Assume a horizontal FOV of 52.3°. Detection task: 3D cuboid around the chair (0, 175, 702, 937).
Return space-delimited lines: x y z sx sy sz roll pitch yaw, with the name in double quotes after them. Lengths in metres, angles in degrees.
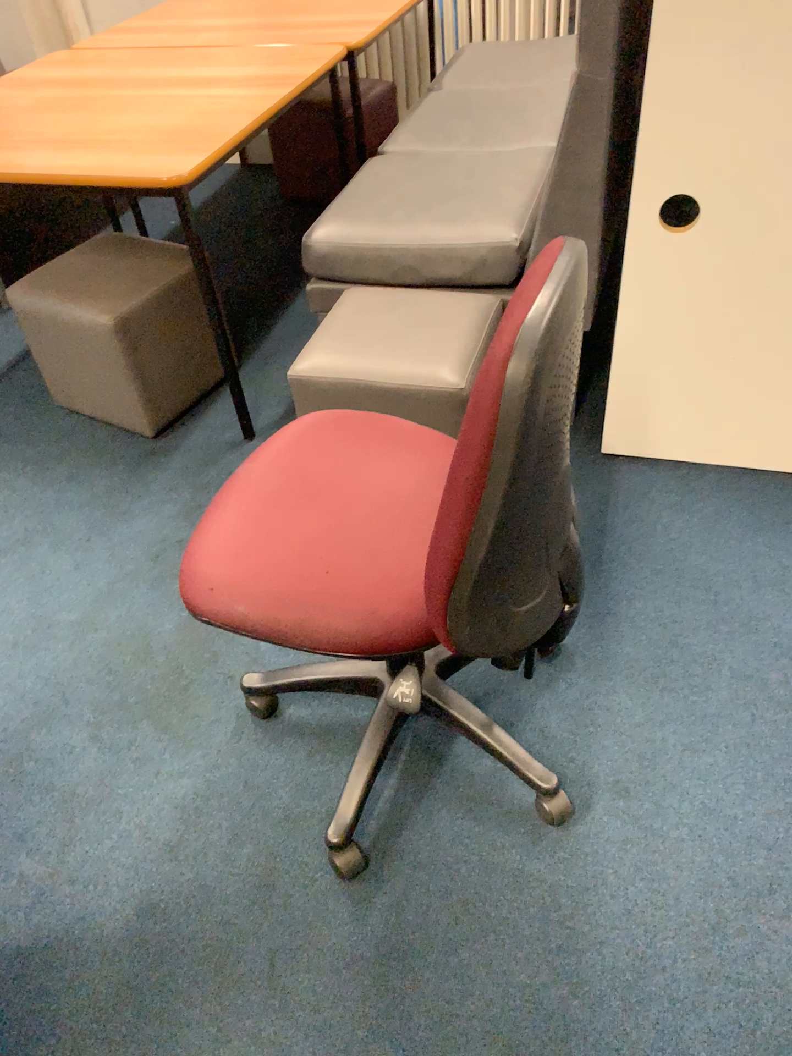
-0.005 0.009 1.204 0.691 0.782 0.655 11 45 19 "chair"
